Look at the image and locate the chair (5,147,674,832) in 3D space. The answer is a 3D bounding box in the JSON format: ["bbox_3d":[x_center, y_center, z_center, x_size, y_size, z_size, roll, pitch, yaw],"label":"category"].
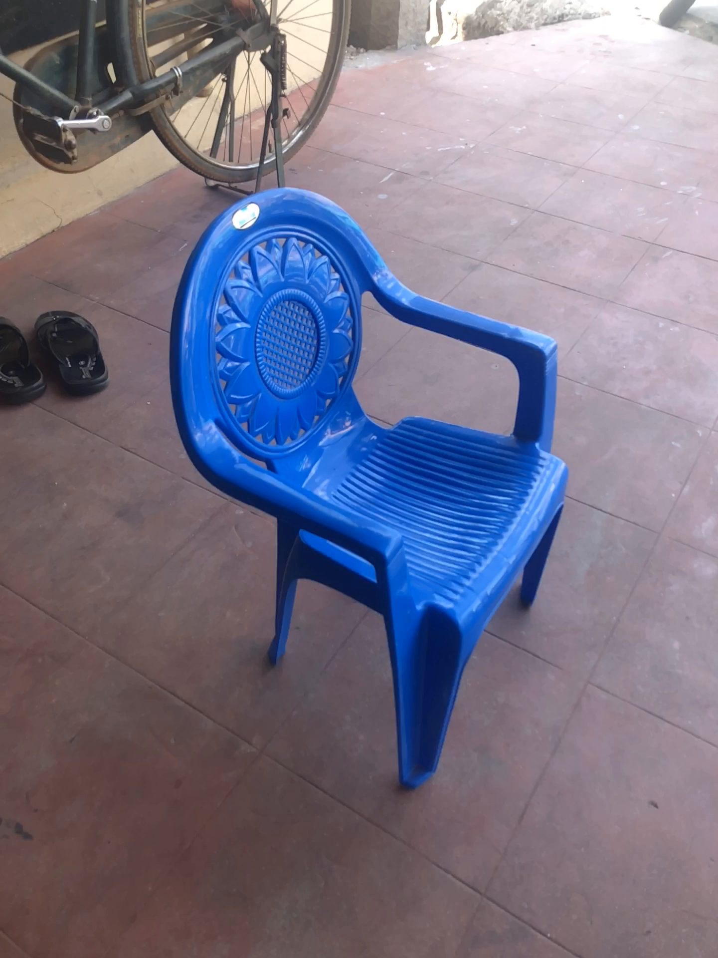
[{"bbox_3d":[-0.004,0.000,0.879,0.450,0.498,0.402,25,51,23],"label":"chair"}]
